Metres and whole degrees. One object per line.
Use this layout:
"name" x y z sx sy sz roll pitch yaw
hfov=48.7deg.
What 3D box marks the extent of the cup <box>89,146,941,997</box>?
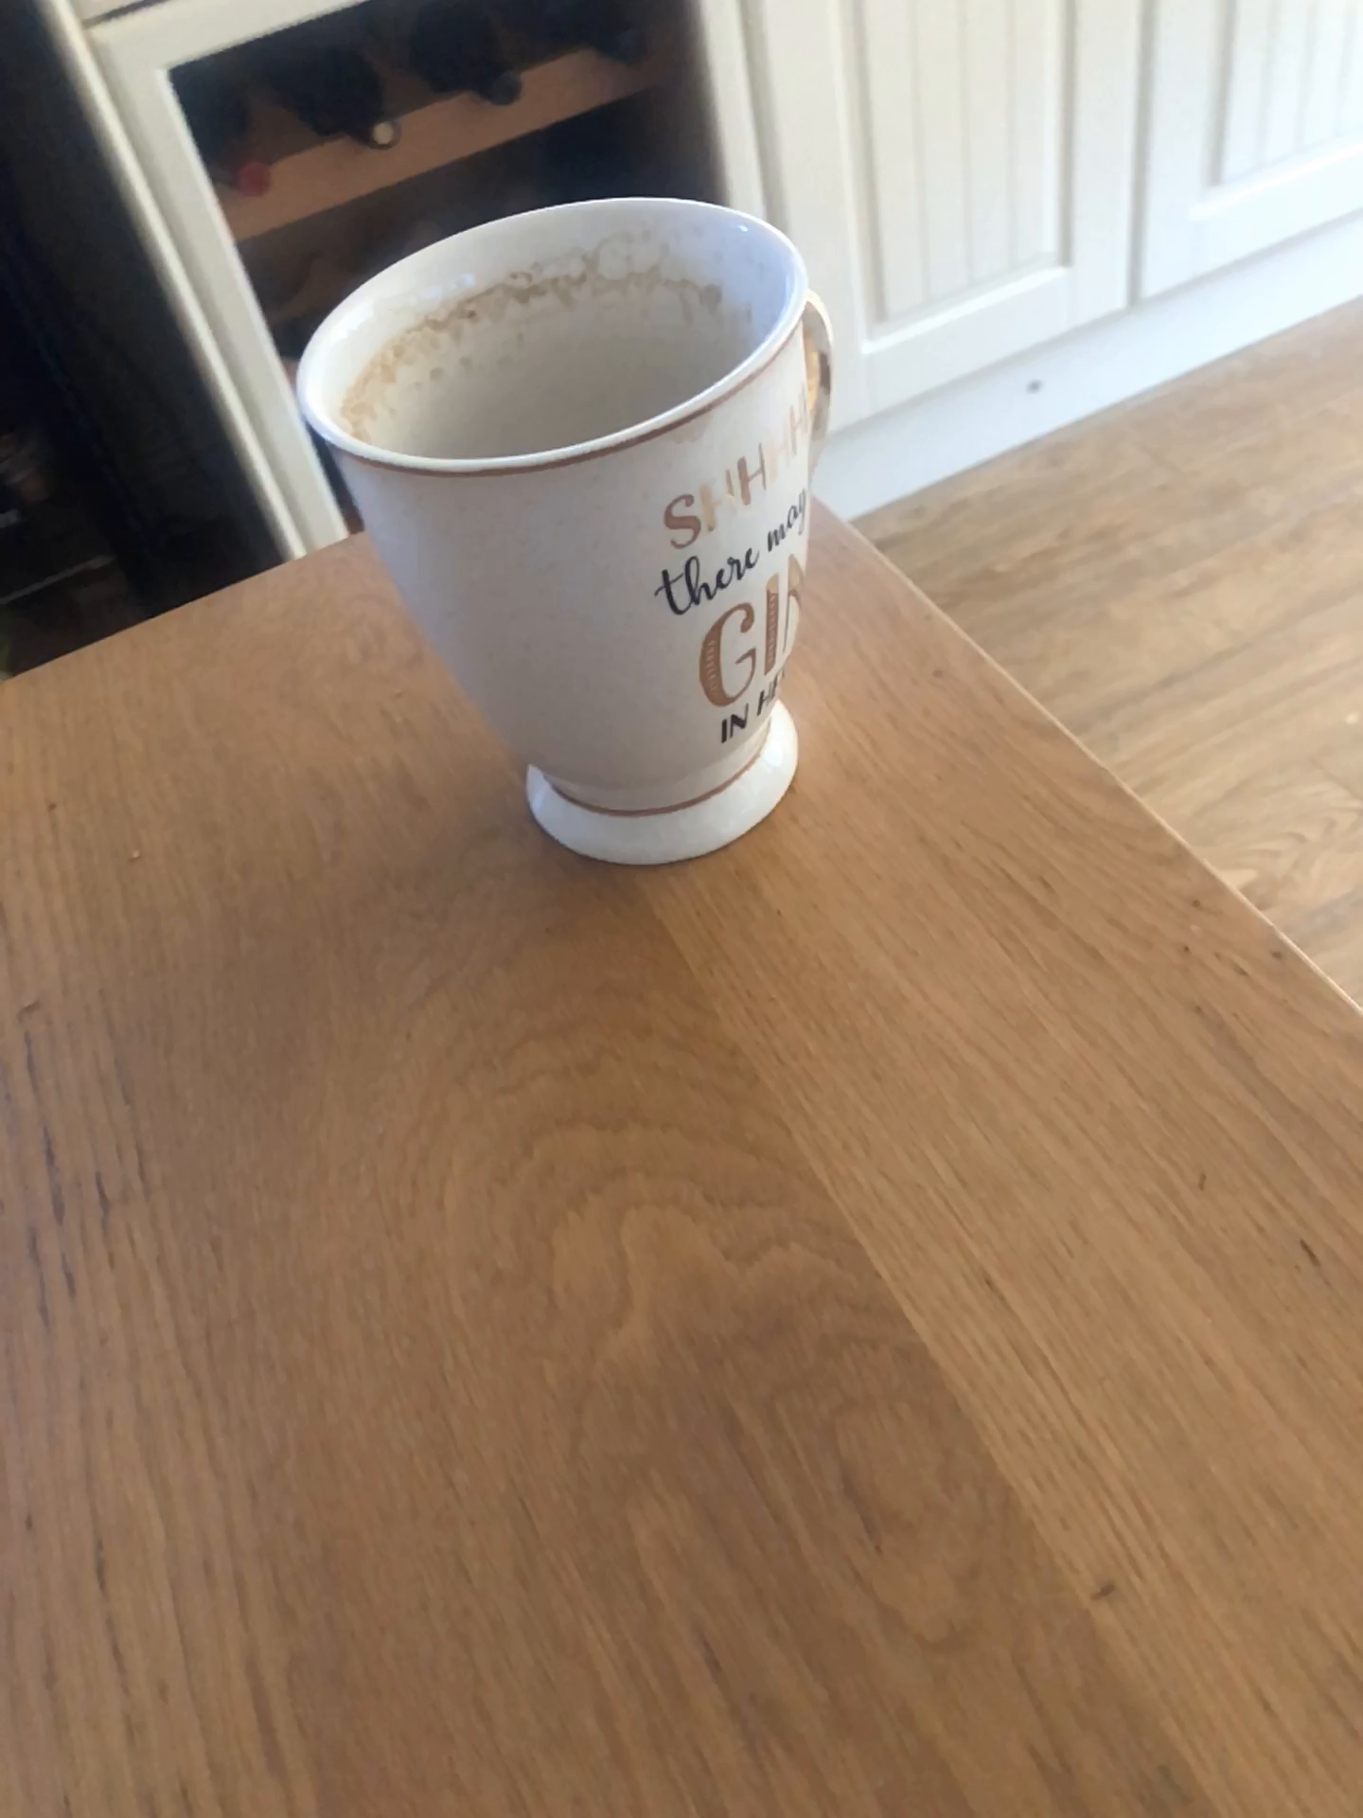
"cup" -0.026 -0.082 0.344 0.109 0.111 0.135 26 59 31
